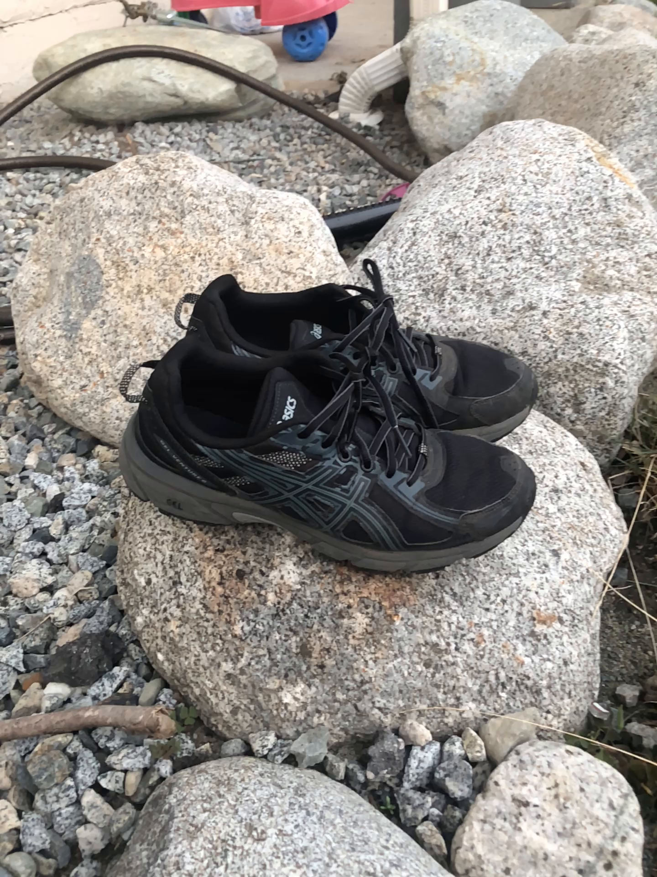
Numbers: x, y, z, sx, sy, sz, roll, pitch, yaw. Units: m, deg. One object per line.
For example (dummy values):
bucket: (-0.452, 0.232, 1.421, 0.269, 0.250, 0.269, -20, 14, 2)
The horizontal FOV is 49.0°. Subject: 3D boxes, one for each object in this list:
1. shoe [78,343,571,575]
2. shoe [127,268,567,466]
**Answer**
shoe: (0.000, 0.010, 0.486, 0.280, 0.099, 0.121, 0, 38, 4)
shoe: (0.015, -0.057, 0.552, 0.290, 0.099, 0.121, 0, 38, 4)
